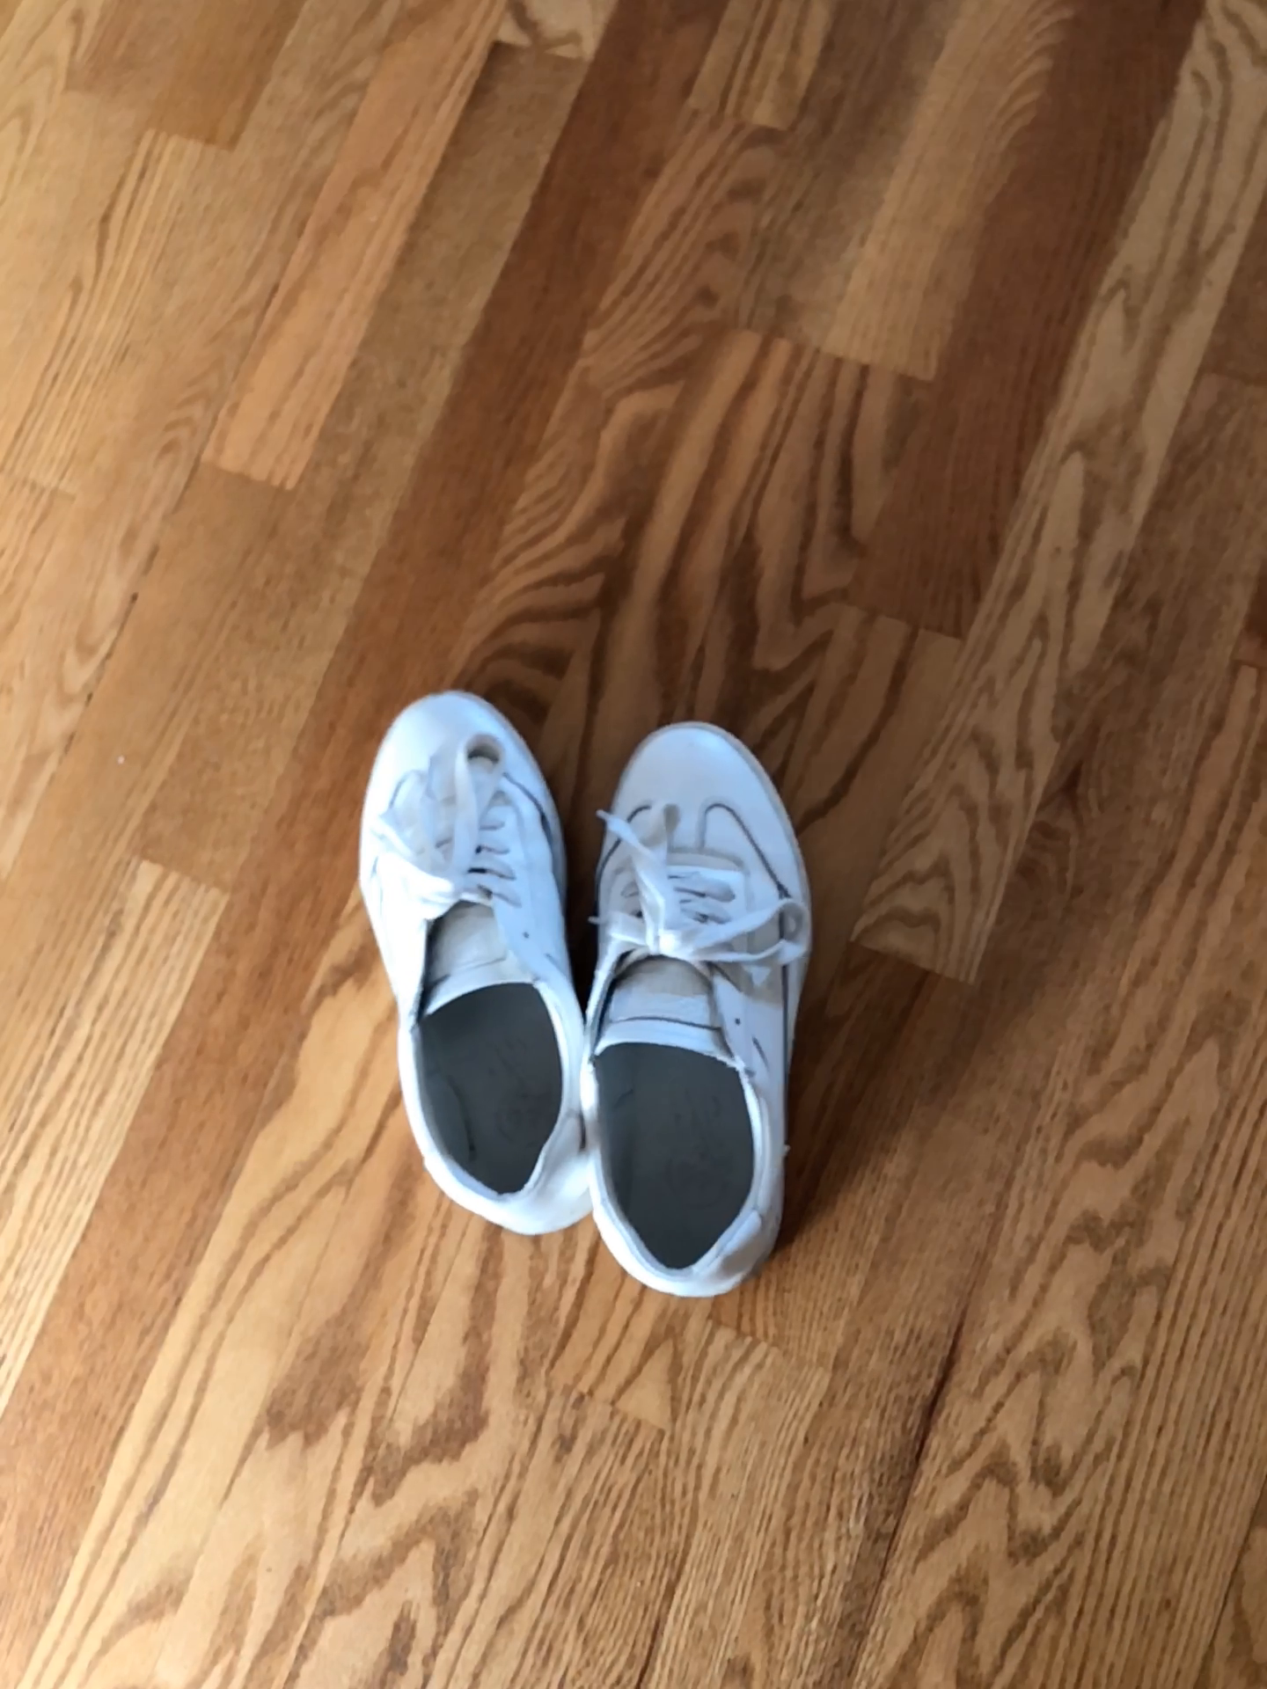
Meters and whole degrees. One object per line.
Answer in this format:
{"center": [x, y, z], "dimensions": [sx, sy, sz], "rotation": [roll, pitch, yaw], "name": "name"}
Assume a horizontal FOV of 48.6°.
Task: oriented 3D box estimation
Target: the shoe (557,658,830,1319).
{"center": [0.032, 0.061, 0.612], "dimensions": [0.102, 0.107, 0.260], "rotation": [0, 79, 9], "name": "shoe"}

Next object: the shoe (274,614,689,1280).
{"center": [-0.066, 0.047, 0.634], "dimensions": [0.102, 0.104, 0.260], "rotation": [-17, 77, 6], "name": "shoe"}
